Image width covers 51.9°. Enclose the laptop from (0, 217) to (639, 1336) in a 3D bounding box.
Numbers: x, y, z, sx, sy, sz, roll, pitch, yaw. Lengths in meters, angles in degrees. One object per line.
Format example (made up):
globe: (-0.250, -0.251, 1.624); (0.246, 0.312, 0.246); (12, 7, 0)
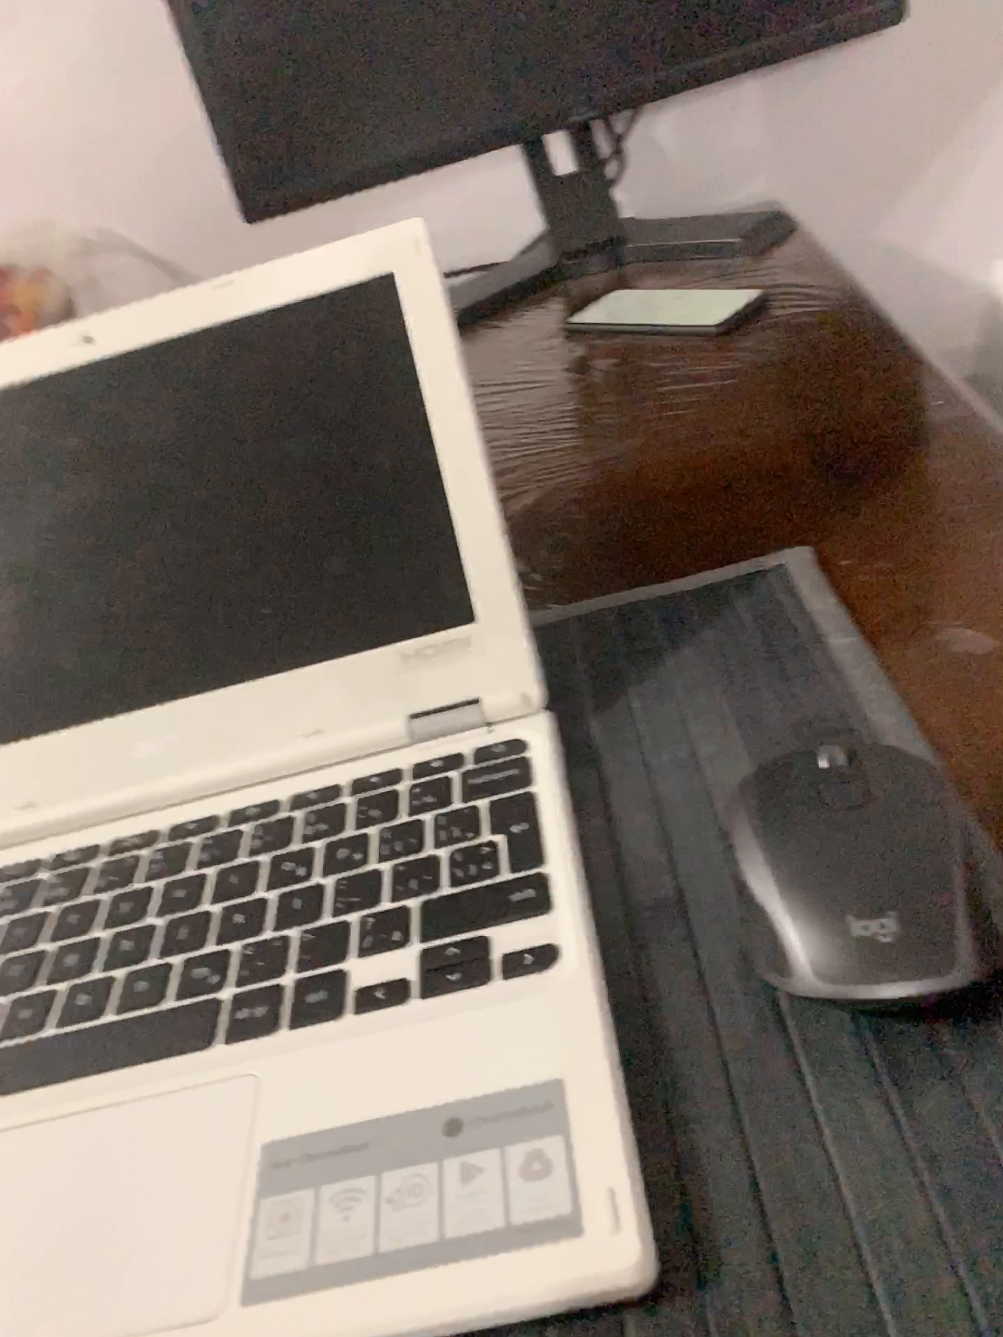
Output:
laptop: (-0.139, 0.007, 0.314); (0.284, 0.142, 0.329); (-14, 34, 5)
